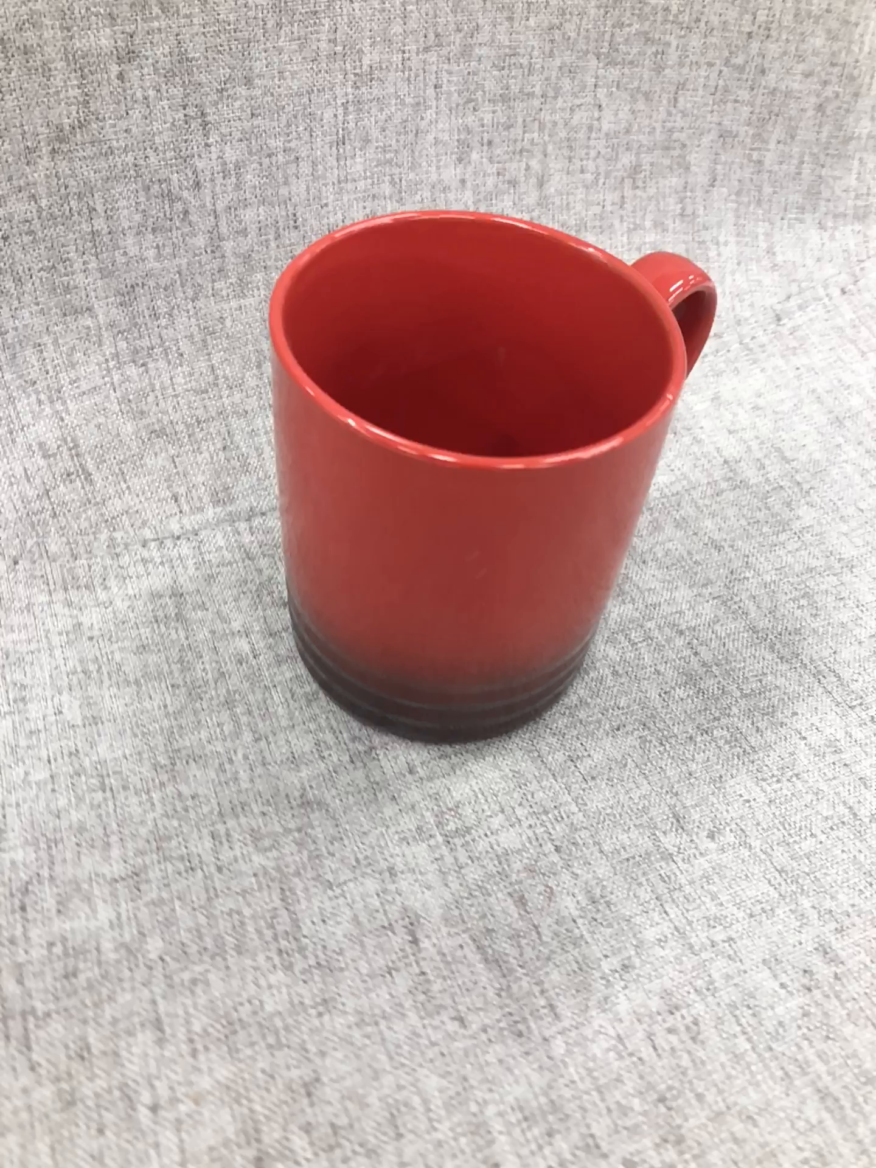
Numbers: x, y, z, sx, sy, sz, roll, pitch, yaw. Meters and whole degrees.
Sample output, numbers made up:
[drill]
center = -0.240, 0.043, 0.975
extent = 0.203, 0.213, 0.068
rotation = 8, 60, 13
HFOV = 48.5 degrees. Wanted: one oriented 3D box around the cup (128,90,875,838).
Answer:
[cup]
center = 0.017, -0.033, 0.234
extent = 0.080, 0.099, 0.140
rotation = 39, 58, 22
